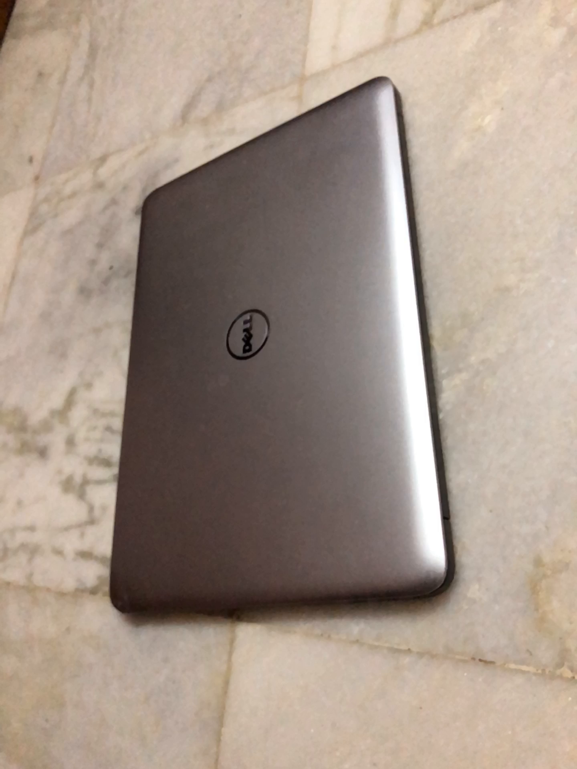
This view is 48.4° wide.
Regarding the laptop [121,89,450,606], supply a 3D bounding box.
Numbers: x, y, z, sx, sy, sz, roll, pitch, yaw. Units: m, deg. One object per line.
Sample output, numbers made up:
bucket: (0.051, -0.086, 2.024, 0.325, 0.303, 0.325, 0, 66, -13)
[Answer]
laptop: (-0.021, -0.029, 0.467, 0.244, 0.002, 0.346, -15, 63, 30)
